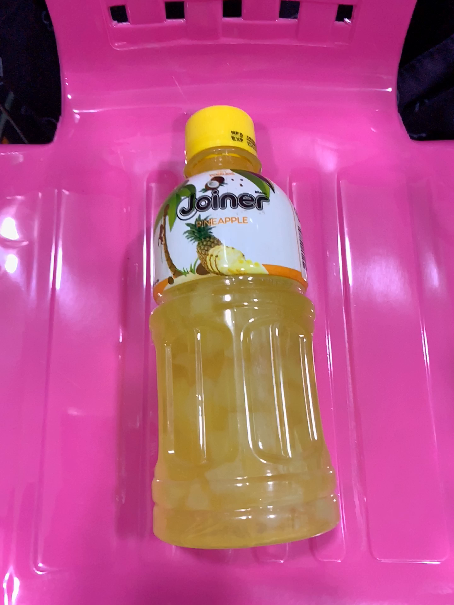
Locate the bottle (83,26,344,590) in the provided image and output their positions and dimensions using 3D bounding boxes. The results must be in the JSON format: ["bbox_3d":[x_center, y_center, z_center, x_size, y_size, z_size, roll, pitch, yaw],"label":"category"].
[{"bbox_3d":[-0.004,0.001,0.169,0.070,0.060,0.160,-7,79,15],"label":"bottle"}]
